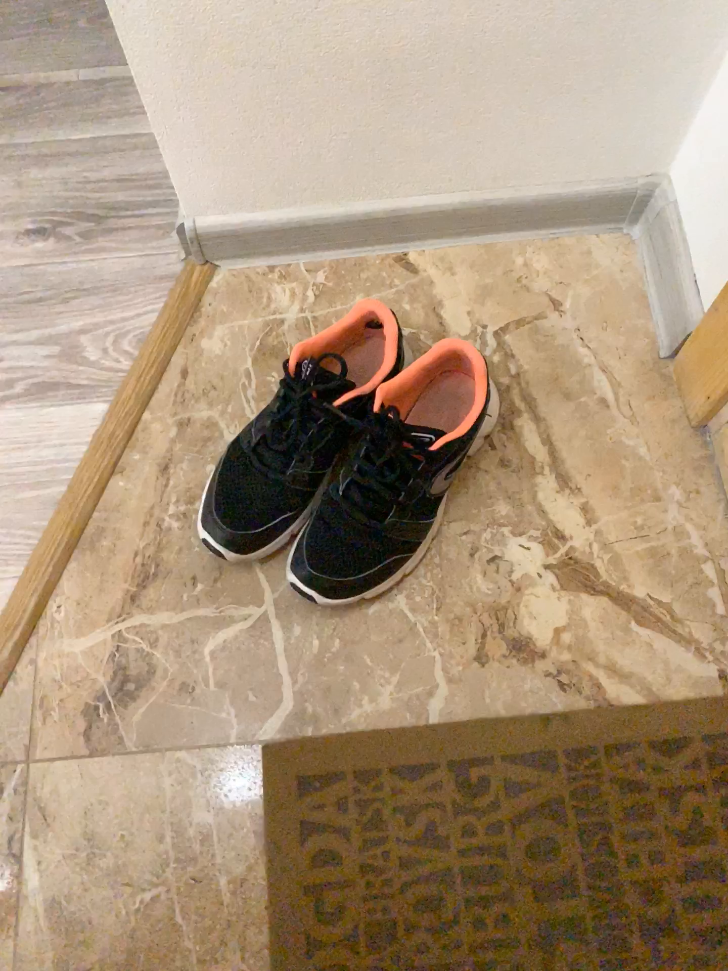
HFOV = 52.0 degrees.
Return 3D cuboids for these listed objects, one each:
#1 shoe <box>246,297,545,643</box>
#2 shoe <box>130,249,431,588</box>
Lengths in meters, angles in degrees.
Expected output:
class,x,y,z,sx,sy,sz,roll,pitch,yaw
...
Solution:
class,x,y,z,sx,sy,sz,roll,pitch,yaw
shoe,0.029,-0.012,0.596,0.100,0.100,0.244,33,74,13
shoe,-0.058,-0.055,0.619,0.100,0.100,0.250,33,74,13
